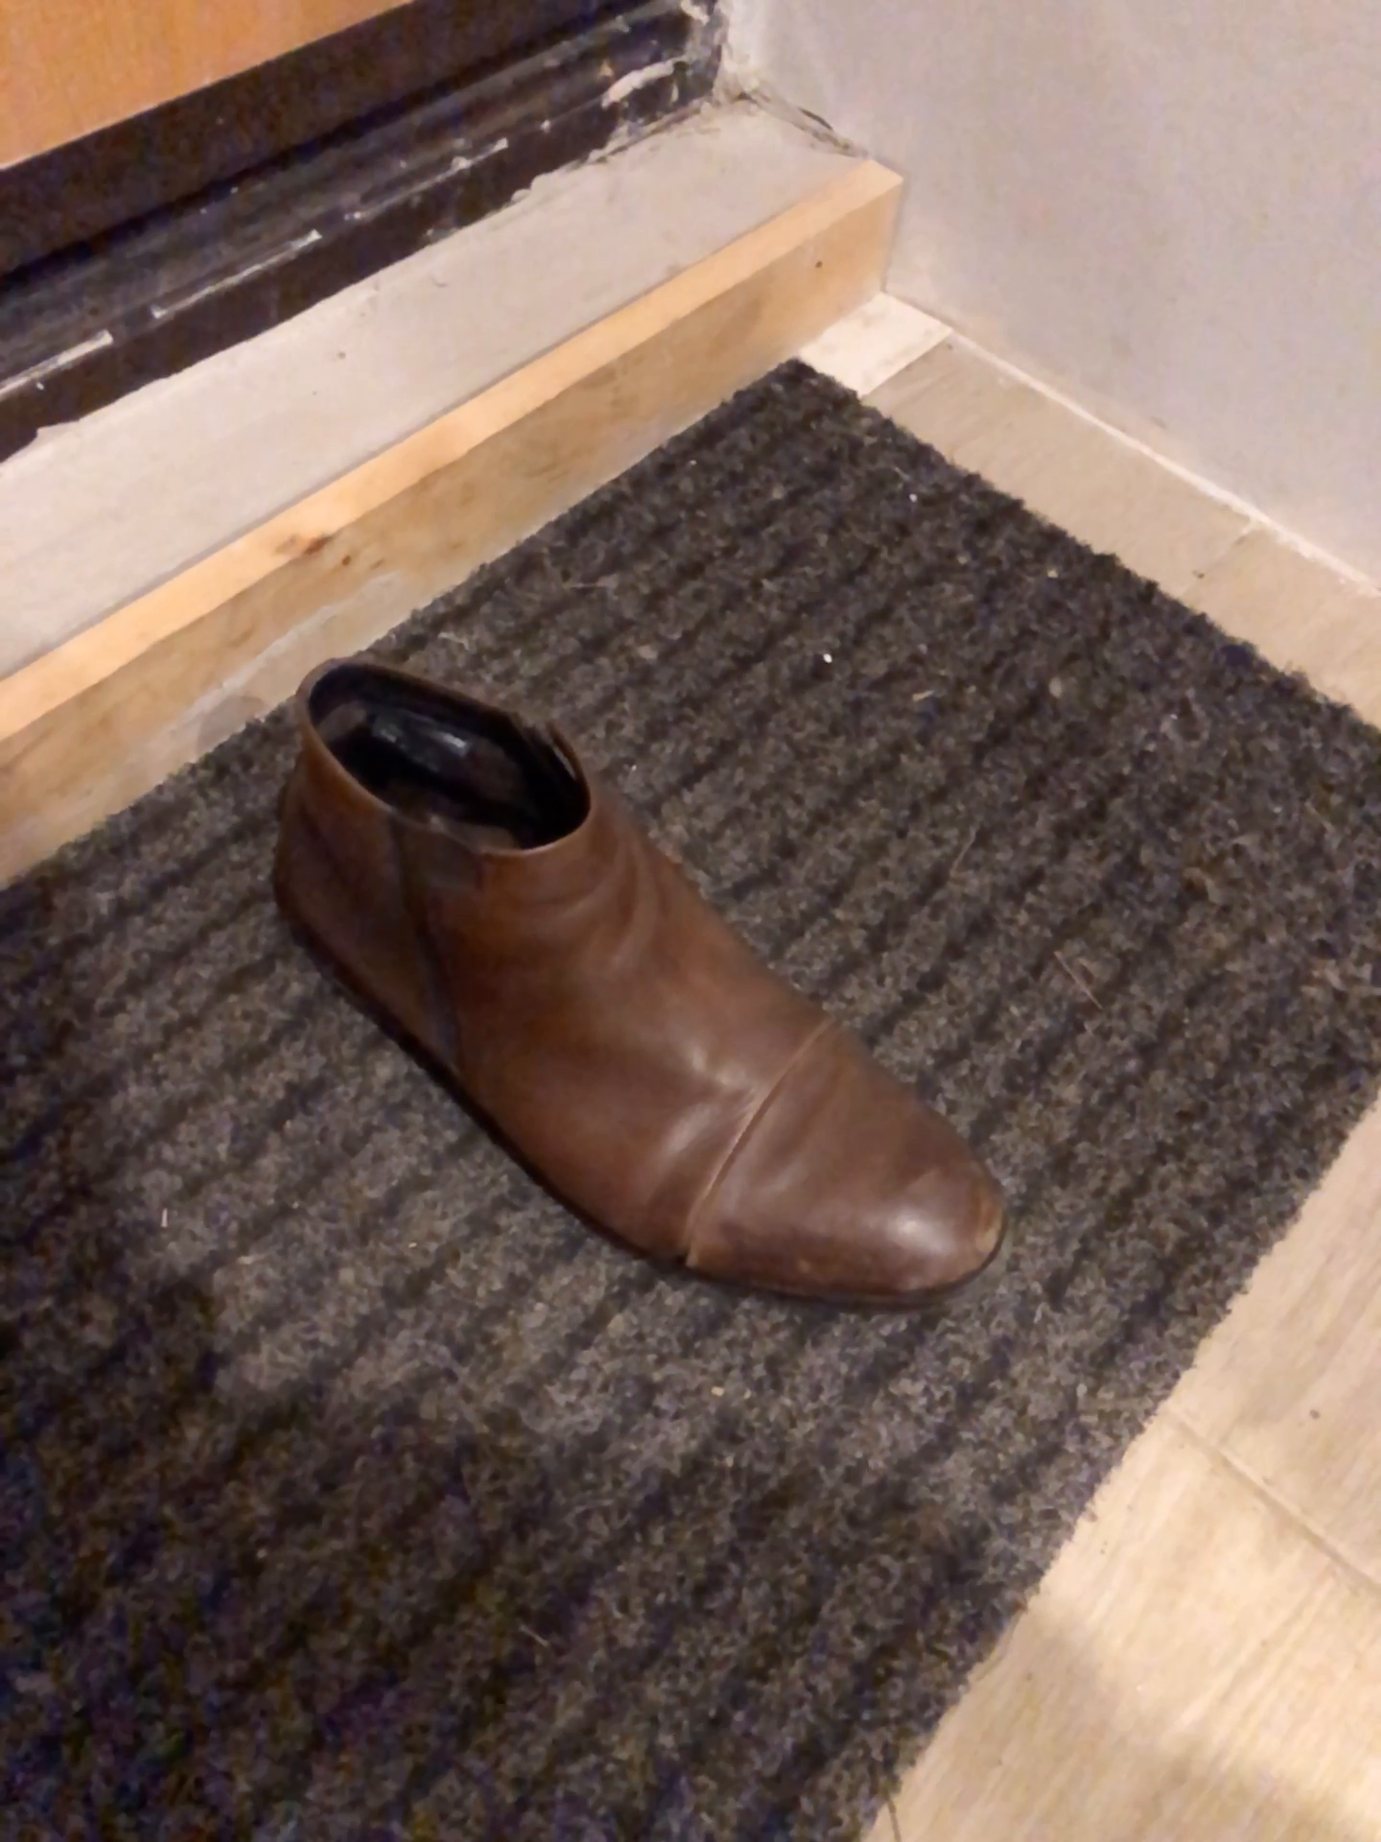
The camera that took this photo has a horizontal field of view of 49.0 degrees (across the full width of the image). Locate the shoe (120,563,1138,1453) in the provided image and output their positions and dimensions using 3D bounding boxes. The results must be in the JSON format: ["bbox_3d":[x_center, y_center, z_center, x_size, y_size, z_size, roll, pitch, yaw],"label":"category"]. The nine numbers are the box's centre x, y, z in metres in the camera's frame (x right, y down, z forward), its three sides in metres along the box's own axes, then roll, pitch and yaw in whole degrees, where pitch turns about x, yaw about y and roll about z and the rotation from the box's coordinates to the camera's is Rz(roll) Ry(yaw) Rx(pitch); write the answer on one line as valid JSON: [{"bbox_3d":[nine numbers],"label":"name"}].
[{"bbox_3d":[-0.028,0.025,0.510,0.300,0.129,0.111,32,59,15],"label":"shoe"}]
